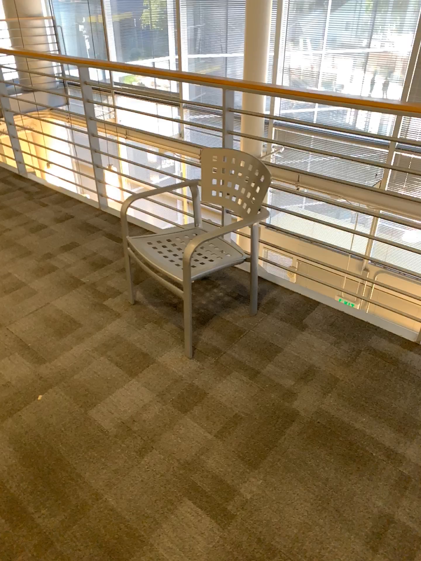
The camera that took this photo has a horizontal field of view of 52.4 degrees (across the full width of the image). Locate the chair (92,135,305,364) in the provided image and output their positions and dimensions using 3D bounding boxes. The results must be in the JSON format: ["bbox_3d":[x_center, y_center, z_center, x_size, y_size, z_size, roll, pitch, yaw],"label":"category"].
[{"bbox_3d":[-0.063,-0.202,2.144,0.681,0.755,0.683,-26,43,-33],"label":"chair"}]
